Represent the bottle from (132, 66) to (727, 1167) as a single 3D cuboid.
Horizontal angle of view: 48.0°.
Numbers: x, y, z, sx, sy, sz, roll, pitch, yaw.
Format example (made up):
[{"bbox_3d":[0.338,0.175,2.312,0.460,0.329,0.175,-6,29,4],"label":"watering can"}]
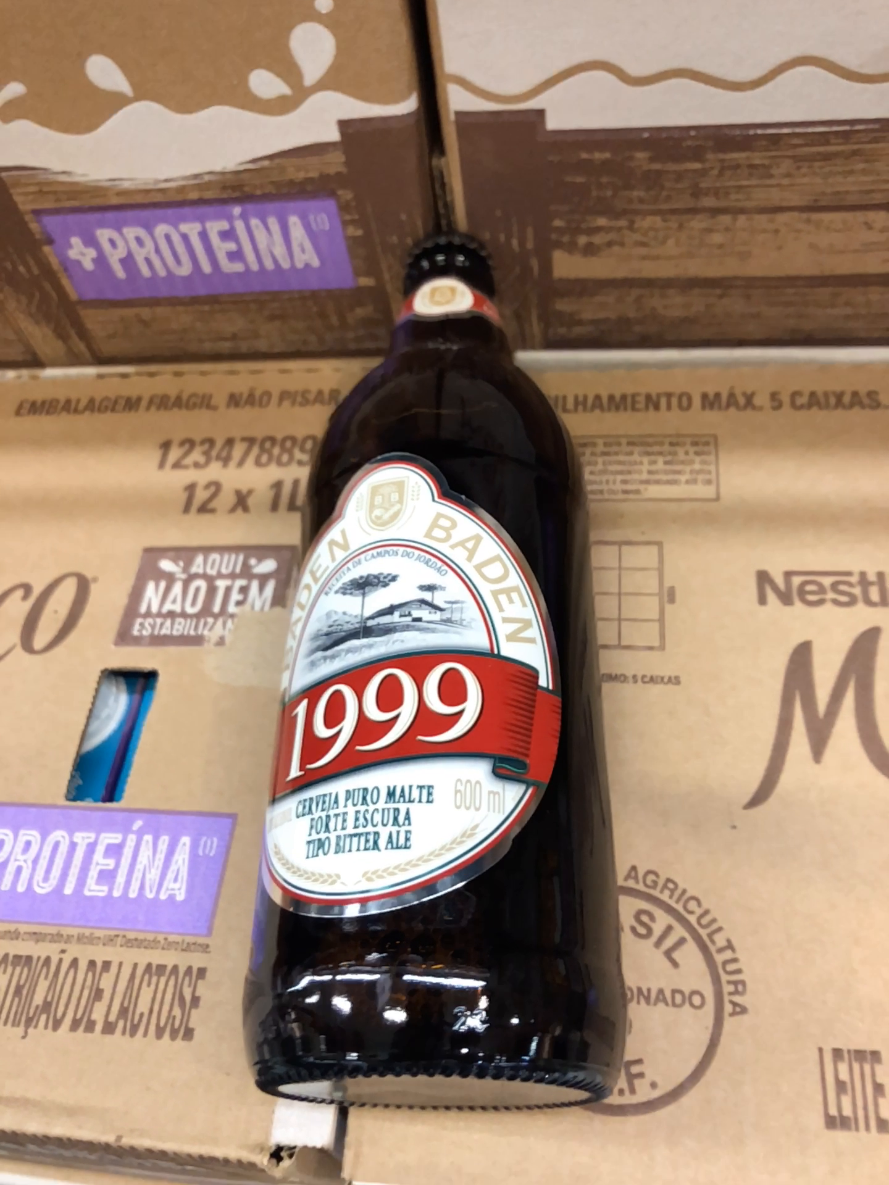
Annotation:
[{"bbox_3d":[0.003,-0.011,0.269,0.090,0.099,0.282,-4,56,6],"label":"bottle"}]
